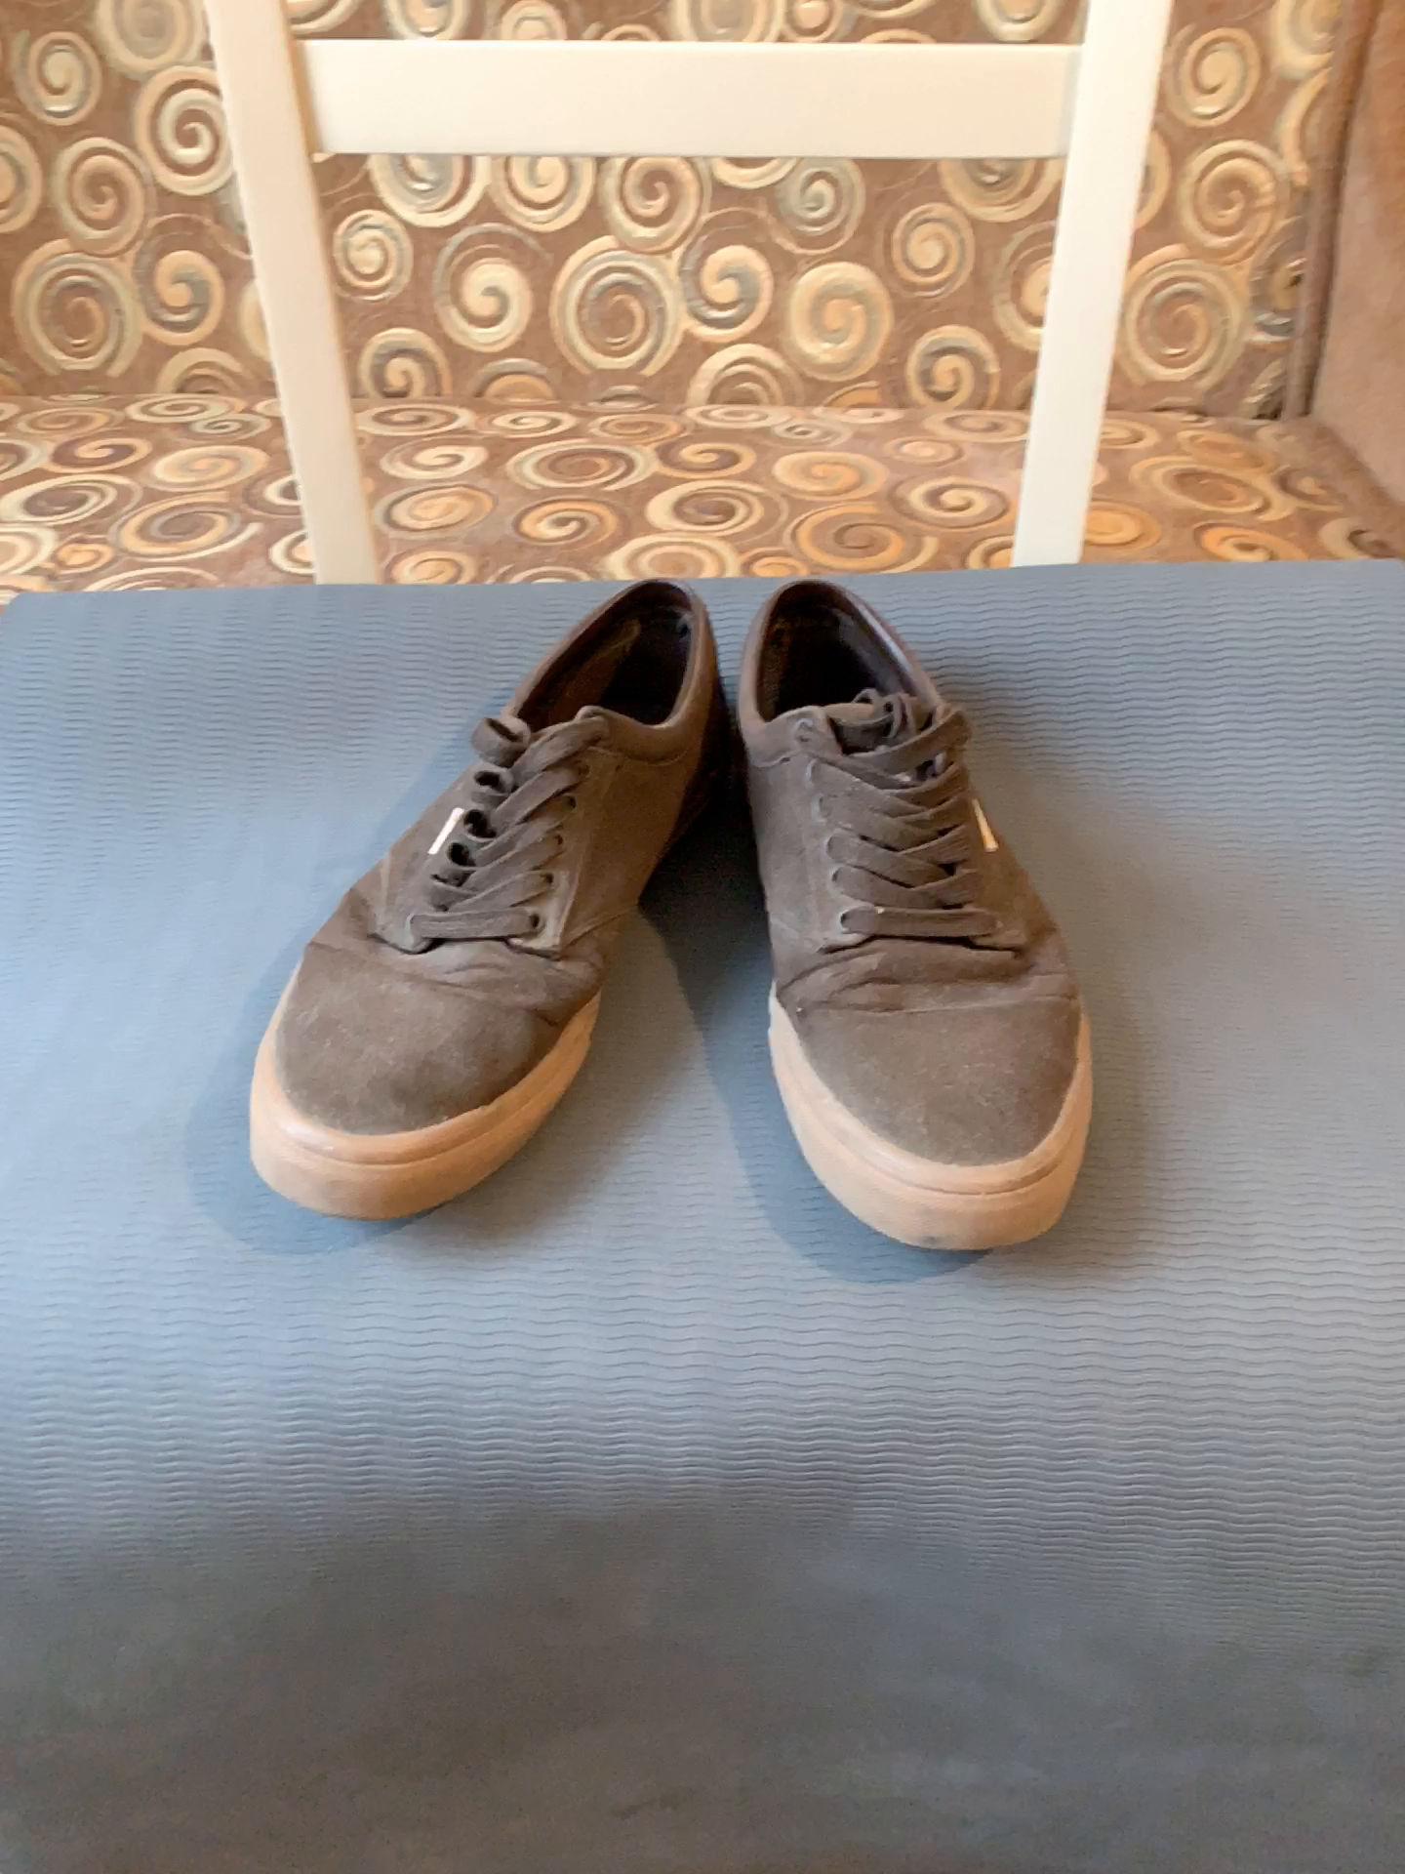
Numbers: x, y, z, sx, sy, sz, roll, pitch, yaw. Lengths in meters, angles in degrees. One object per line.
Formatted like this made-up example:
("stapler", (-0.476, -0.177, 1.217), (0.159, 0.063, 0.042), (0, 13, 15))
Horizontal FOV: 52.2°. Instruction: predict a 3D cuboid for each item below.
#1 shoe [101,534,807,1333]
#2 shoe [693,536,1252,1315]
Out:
("shoe", (-0.062, -0.031, 0.537), (0.110, 0.080, 0.341), (12, 44, 14))
("shoe", (0.070, -0.030, 0.516), (0.110, 0.080, 0.322), (-5, 42, -5))
